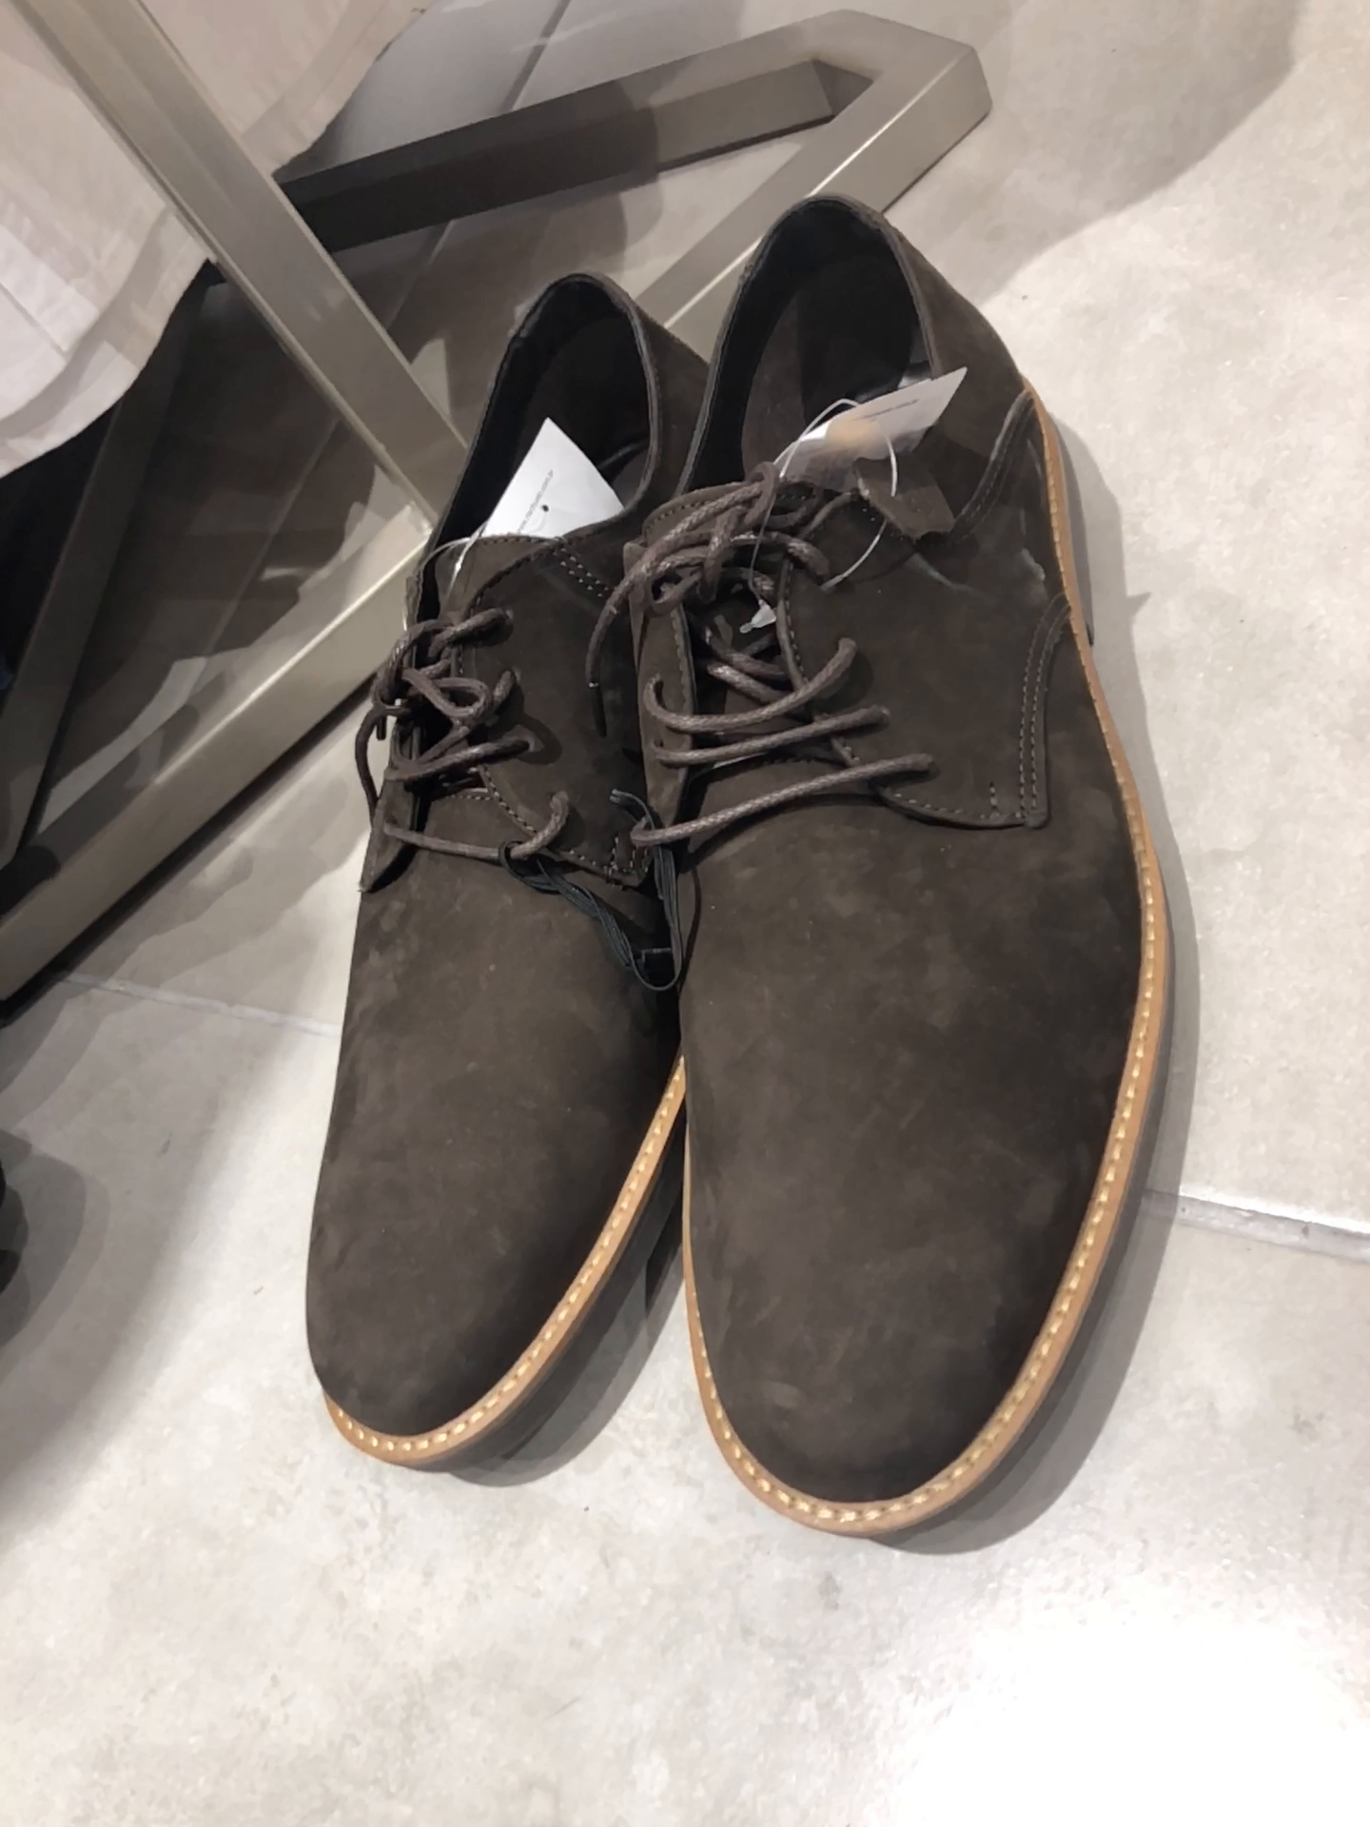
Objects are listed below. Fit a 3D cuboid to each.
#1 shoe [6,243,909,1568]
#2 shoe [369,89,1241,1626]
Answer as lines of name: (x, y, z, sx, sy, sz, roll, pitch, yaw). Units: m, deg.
shoe: (-0.033, -0.009, 0.393, 0.110, 0.119, 0.301, -3, 59, 29)
shoe: (0.039, -0.019, 0.333, 0.110, 0.119, 0.301, -10, 56, 25)
